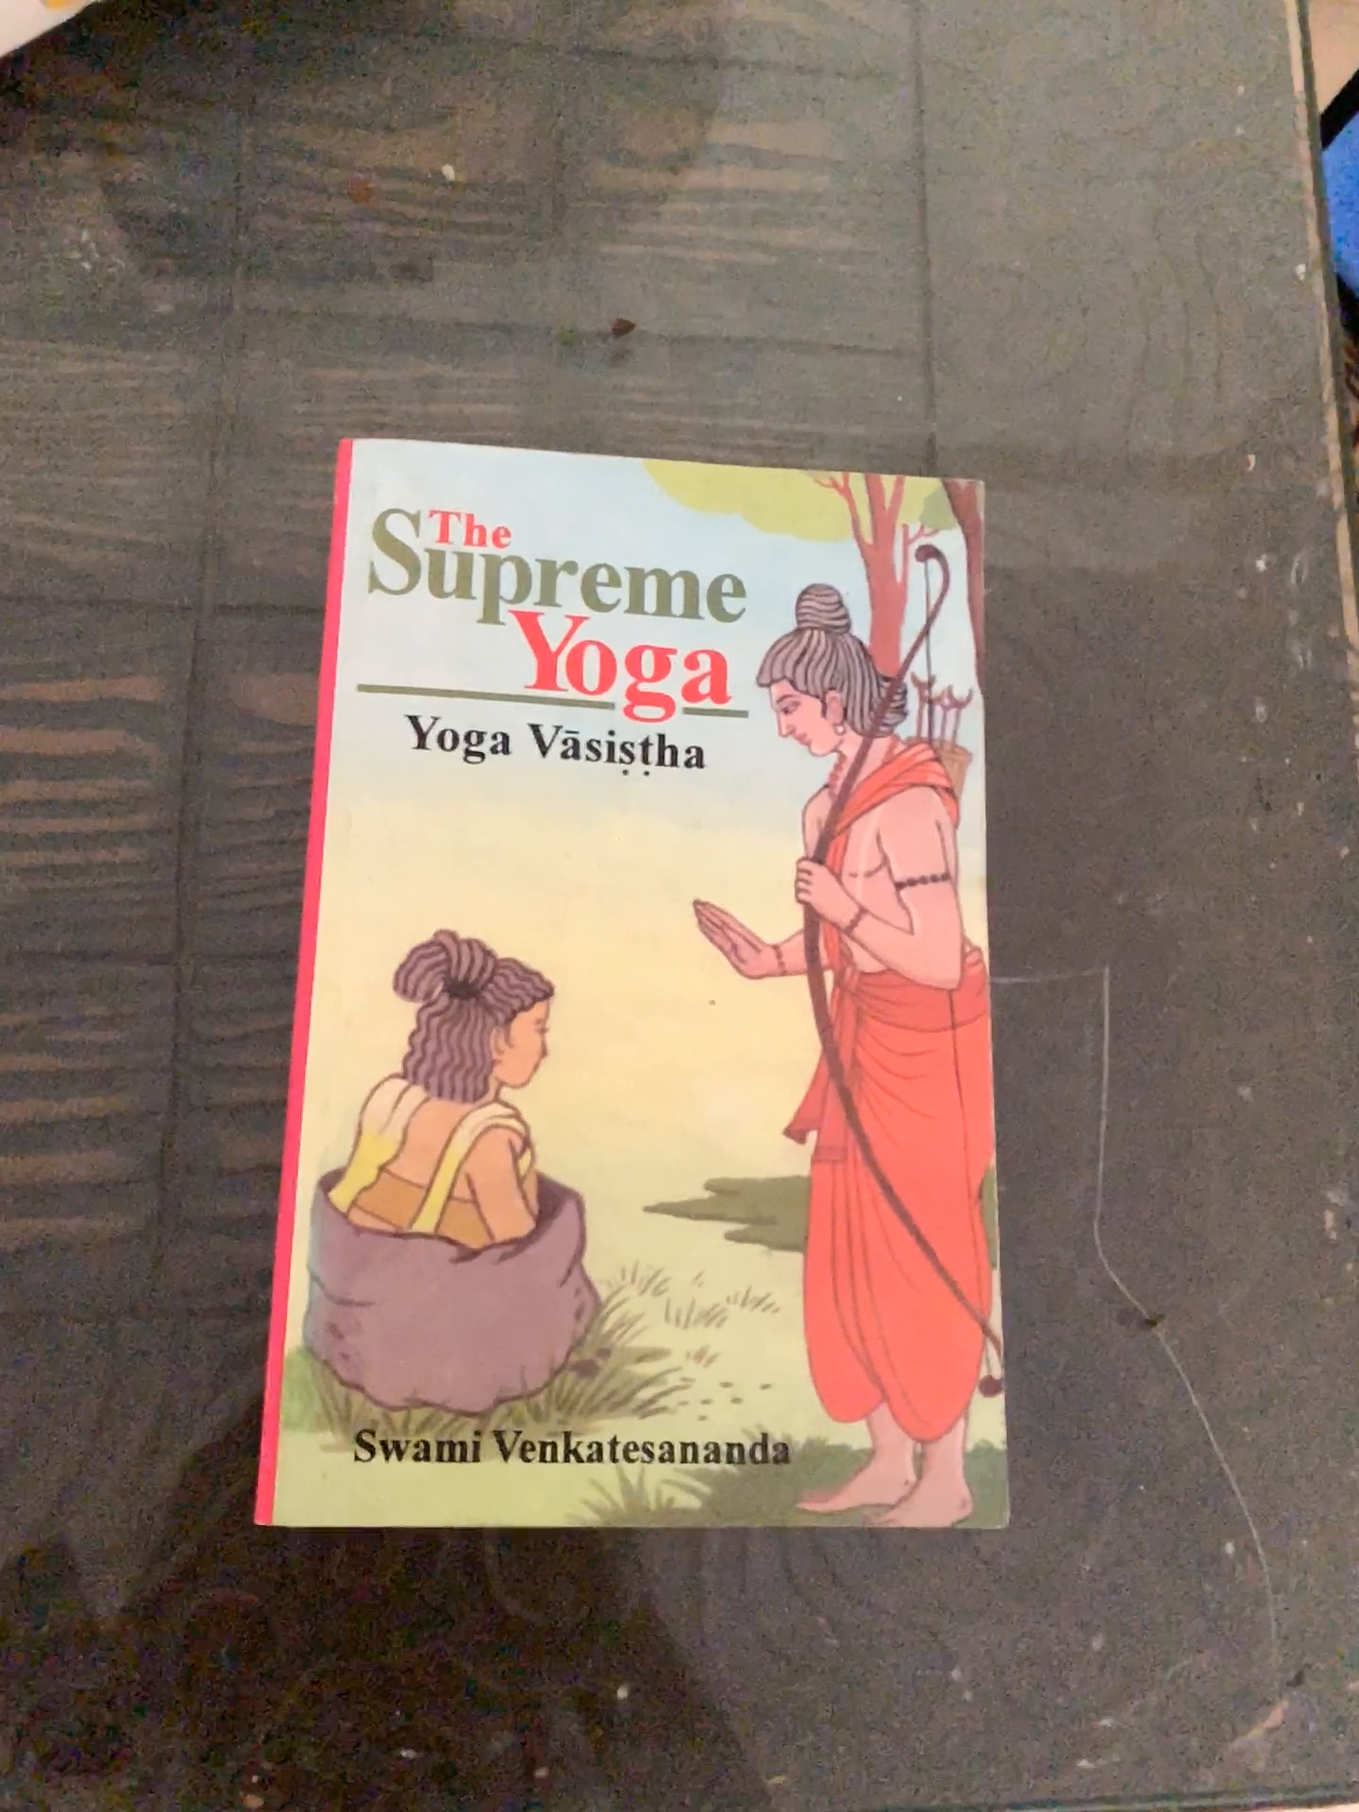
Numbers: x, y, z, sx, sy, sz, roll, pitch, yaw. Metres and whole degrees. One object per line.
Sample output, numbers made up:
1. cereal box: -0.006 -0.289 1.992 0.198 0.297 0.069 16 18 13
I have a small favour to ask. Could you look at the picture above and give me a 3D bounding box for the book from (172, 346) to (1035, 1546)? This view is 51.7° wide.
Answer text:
1. book: -0.010 0.003 0.263 0.140 0.030 0.210 2 78 -5
